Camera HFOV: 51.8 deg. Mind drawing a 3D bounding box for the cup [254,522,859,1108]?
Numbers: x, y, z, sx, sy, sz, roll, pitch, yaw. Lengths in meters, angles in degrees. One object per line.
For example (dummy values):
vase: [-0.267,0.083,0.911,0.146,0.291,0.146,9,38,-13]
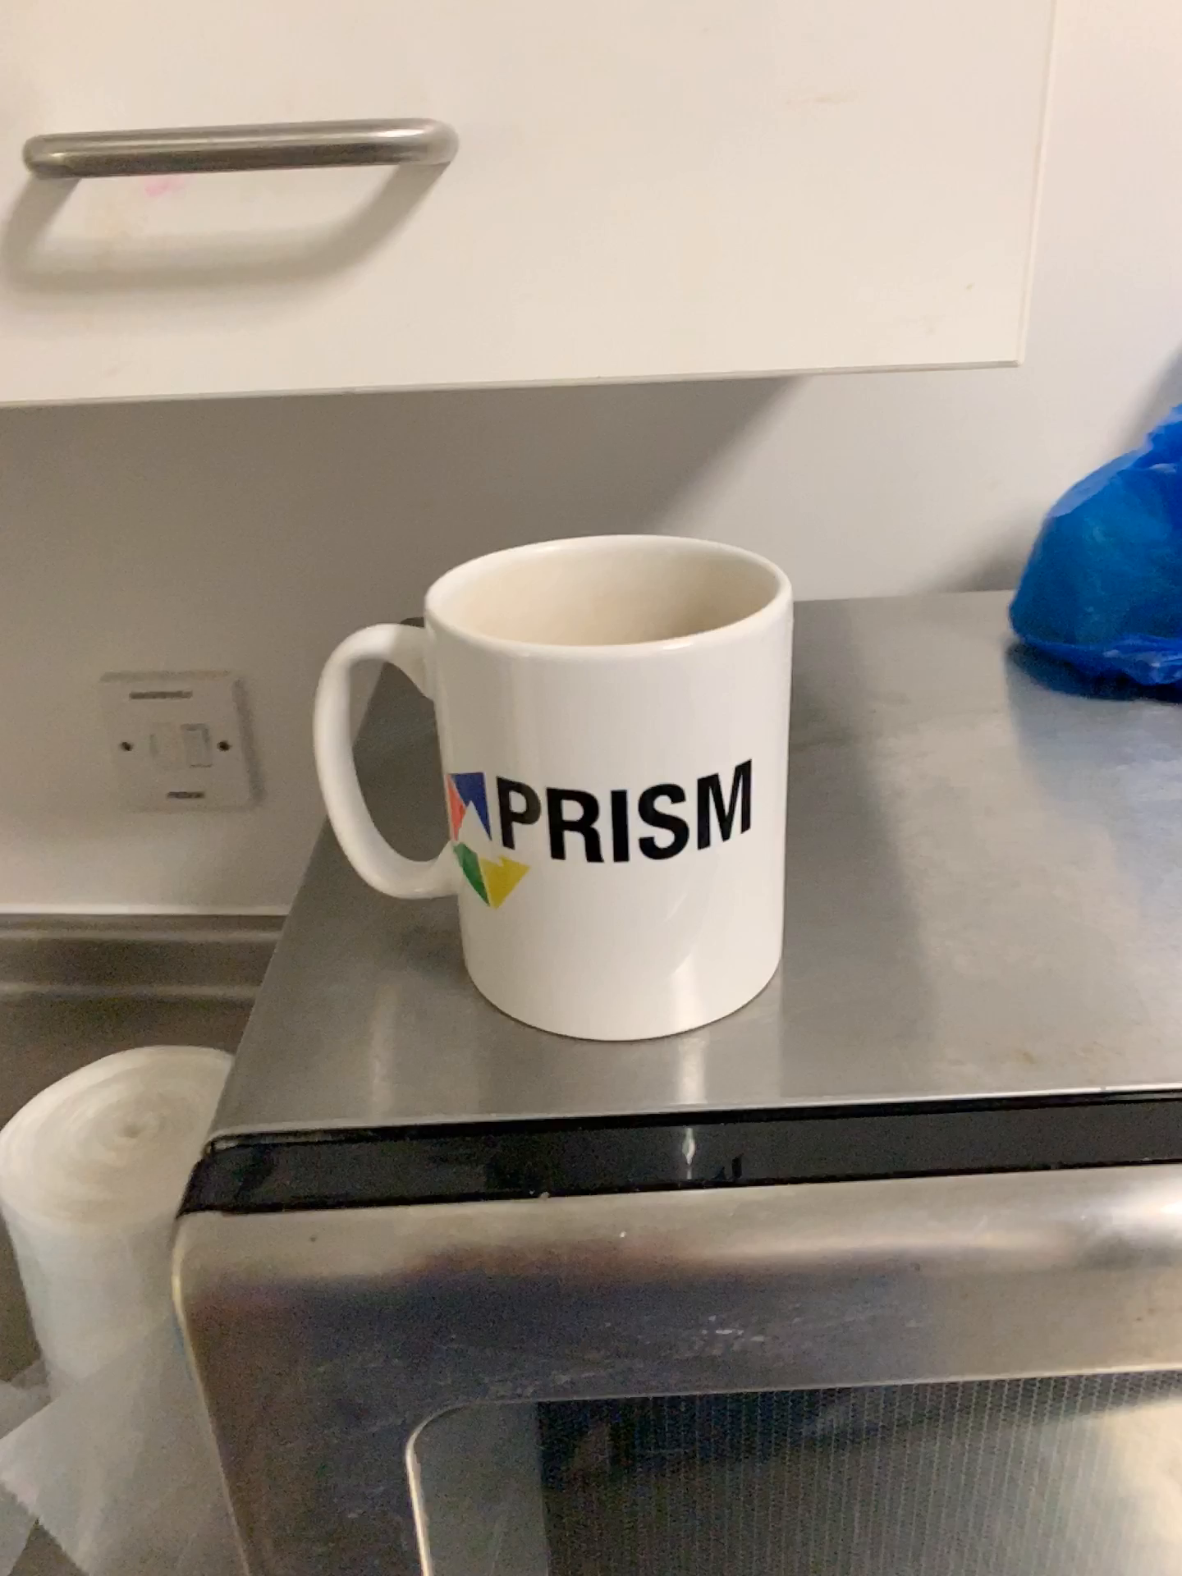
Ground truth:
cup: [0.001,-0.002,0.295,0.113,0.099,0.095,5,26,16]
